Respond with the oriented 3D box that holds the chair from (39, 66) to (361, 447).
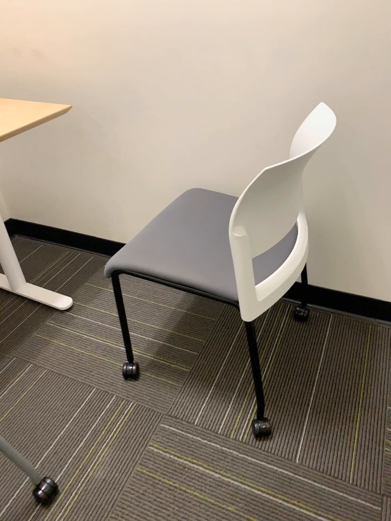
[{"bbox_3d":[0.073,-0.050,1.157,0.541,0.805,0.602,14,39,21],"label":"chair"}]
